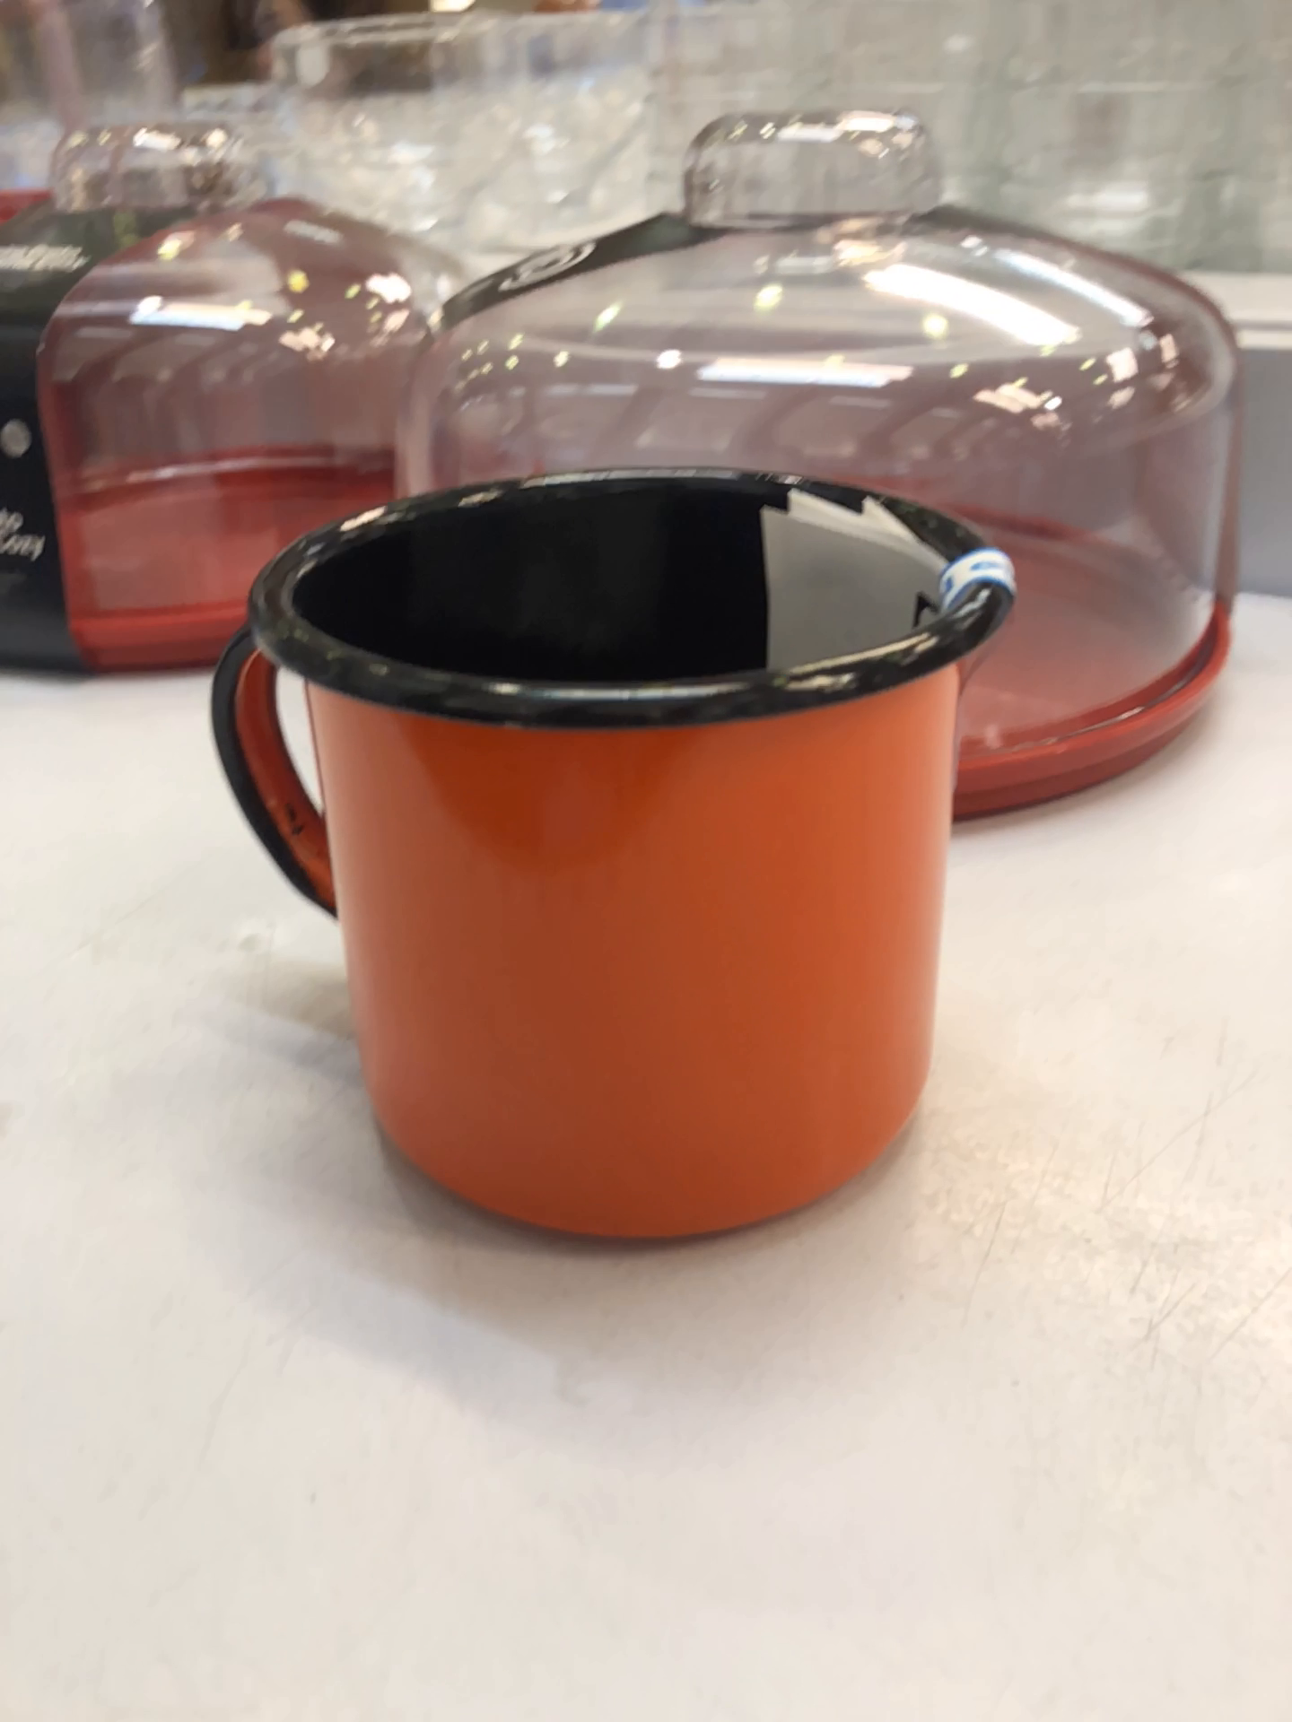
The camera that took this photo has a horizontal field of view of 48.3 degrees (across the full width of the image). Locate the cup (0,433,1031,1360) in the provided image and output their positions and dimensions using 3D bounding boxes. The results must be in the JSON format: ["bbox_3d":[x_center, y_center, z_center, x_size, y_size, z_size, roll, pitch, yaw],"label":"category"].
[{"bbox_3d":[-0.018,-0.008,0.188,0.110,0.069,0.080,13,32,26],"label":"cup"}]
